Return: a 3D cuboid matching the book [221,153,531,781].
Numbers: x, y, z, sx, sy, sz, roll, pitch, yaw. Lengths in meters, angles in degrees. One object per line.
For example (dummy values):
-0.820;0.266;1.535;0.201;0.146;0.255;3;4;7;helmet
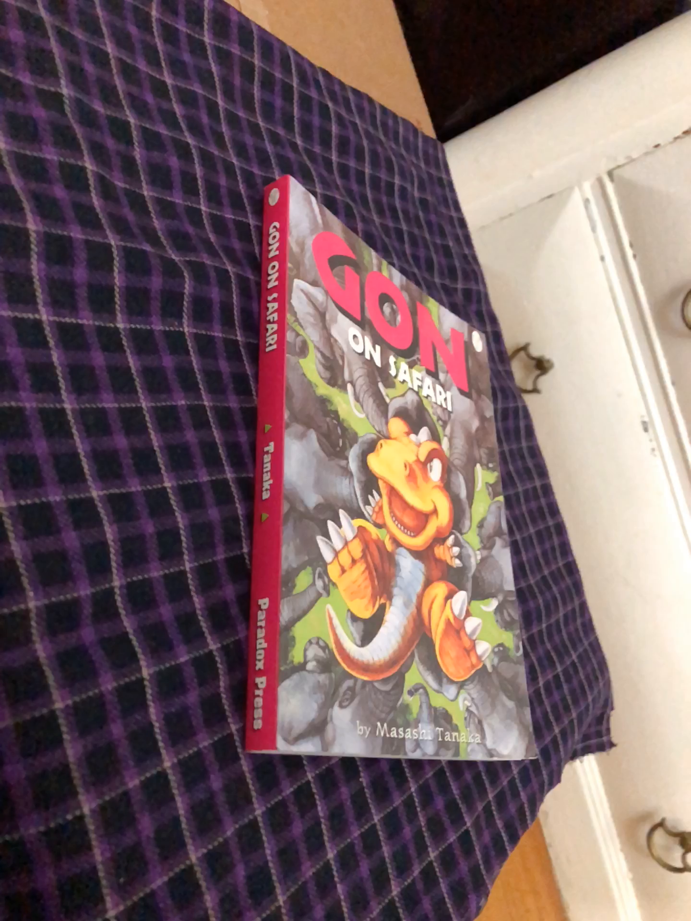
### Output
0.019;0.010;0.298;0.151;0.020;0.210;27;54;-47;book
